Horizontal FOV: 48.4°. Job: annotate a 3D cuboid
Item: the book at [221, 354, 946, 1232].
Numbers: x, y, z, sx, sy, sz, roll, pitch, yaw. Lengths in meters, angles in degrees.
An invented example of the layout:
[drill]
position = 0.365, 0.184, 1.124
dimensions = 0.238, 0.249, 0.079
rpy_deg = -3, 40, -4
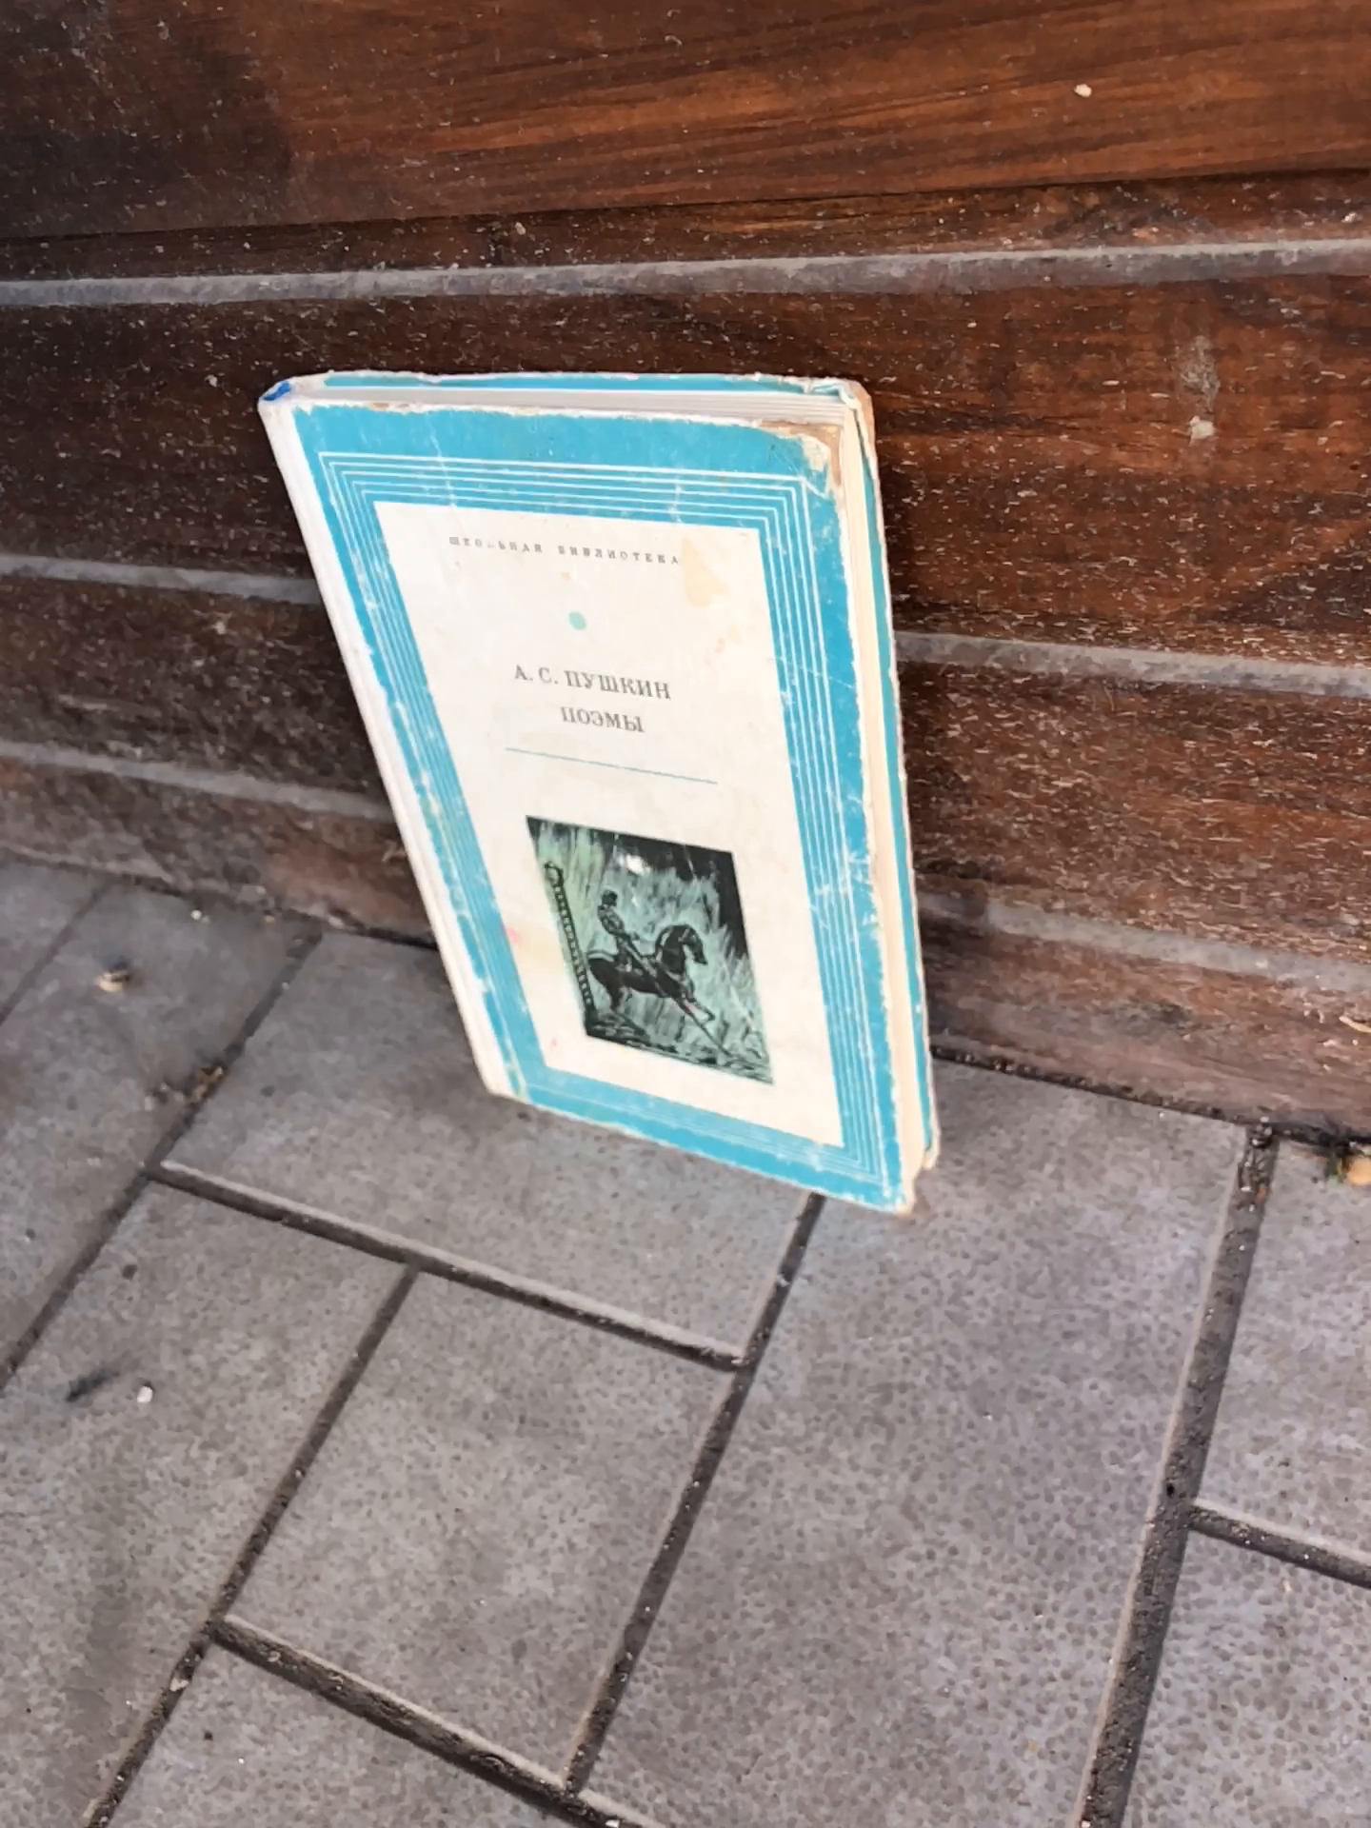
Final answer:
[book]
position = -0.014, -0.022, 0.336
dimensions = 0.130, 0.189, 0.030
rpy_deg = 12, 42, 27
